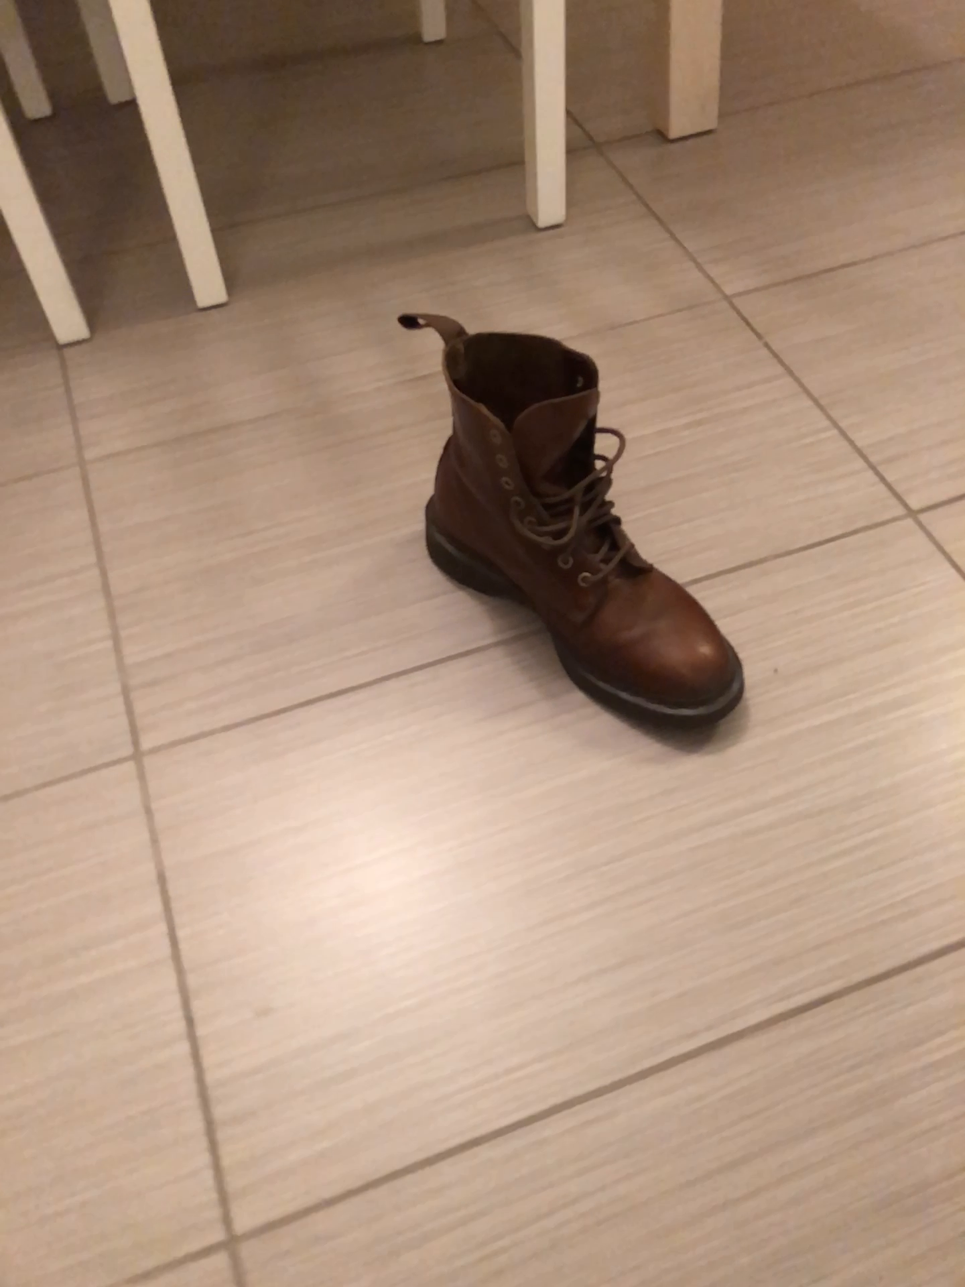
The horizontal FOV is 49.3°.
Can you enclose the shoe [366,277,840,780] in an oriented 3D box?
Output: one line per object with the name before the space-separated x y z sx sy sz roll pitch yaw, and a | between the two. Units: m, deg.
shoe | 0.065 -0.080 0.695 0.116 0.180 0.282 -35 59 -21
